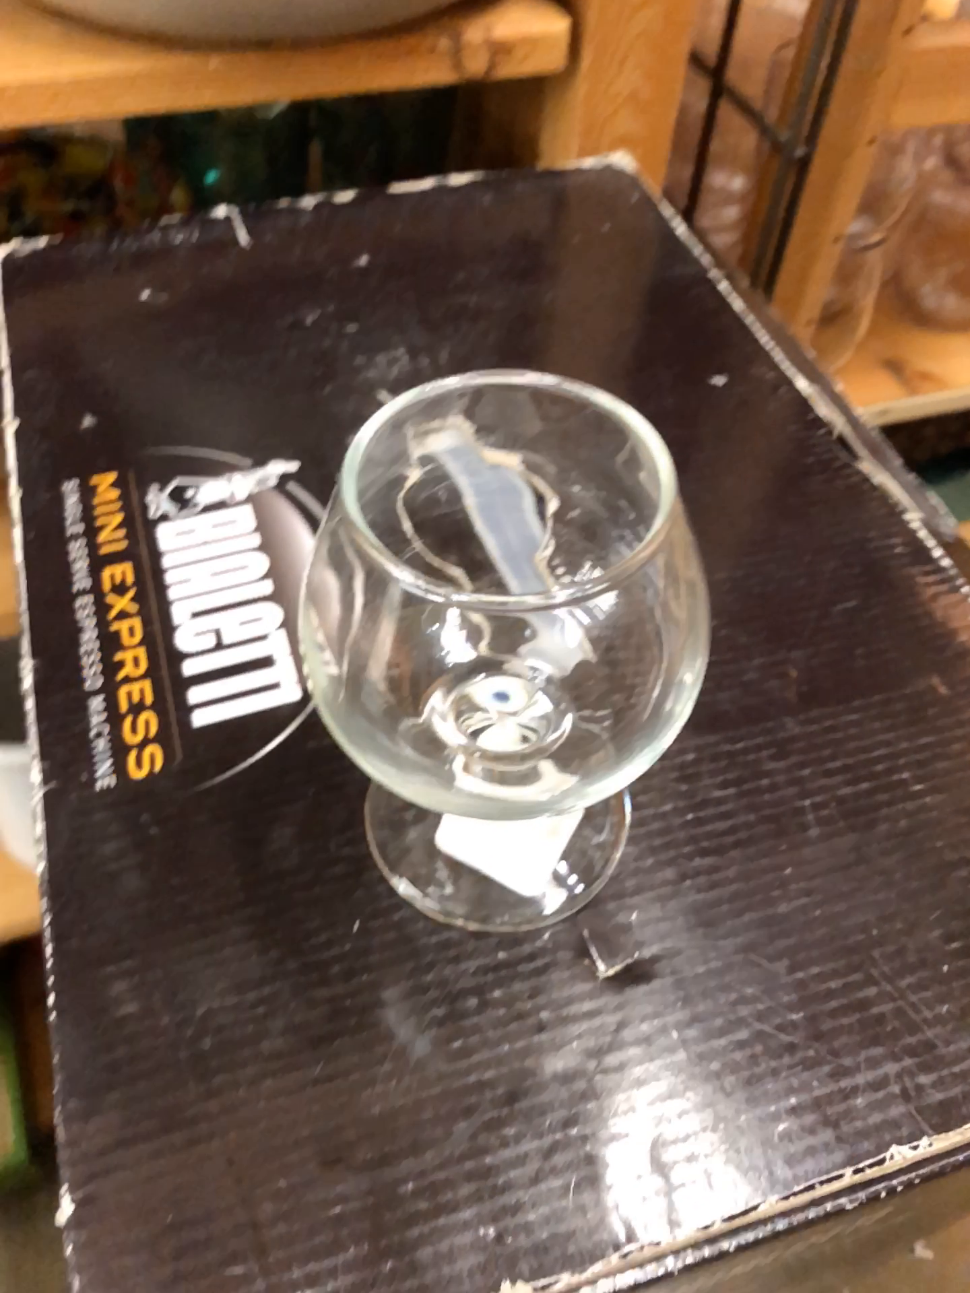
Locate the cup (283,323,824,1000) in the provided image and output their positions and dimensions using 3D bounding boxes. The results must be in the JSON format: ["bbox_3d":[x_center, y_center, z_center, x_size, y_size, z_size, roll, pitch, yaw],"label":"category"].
[{"bbox_3d":[0.003,0.007,0.208,0.069,0.106,0.072,2,50,-3],"label":"cup"}]
